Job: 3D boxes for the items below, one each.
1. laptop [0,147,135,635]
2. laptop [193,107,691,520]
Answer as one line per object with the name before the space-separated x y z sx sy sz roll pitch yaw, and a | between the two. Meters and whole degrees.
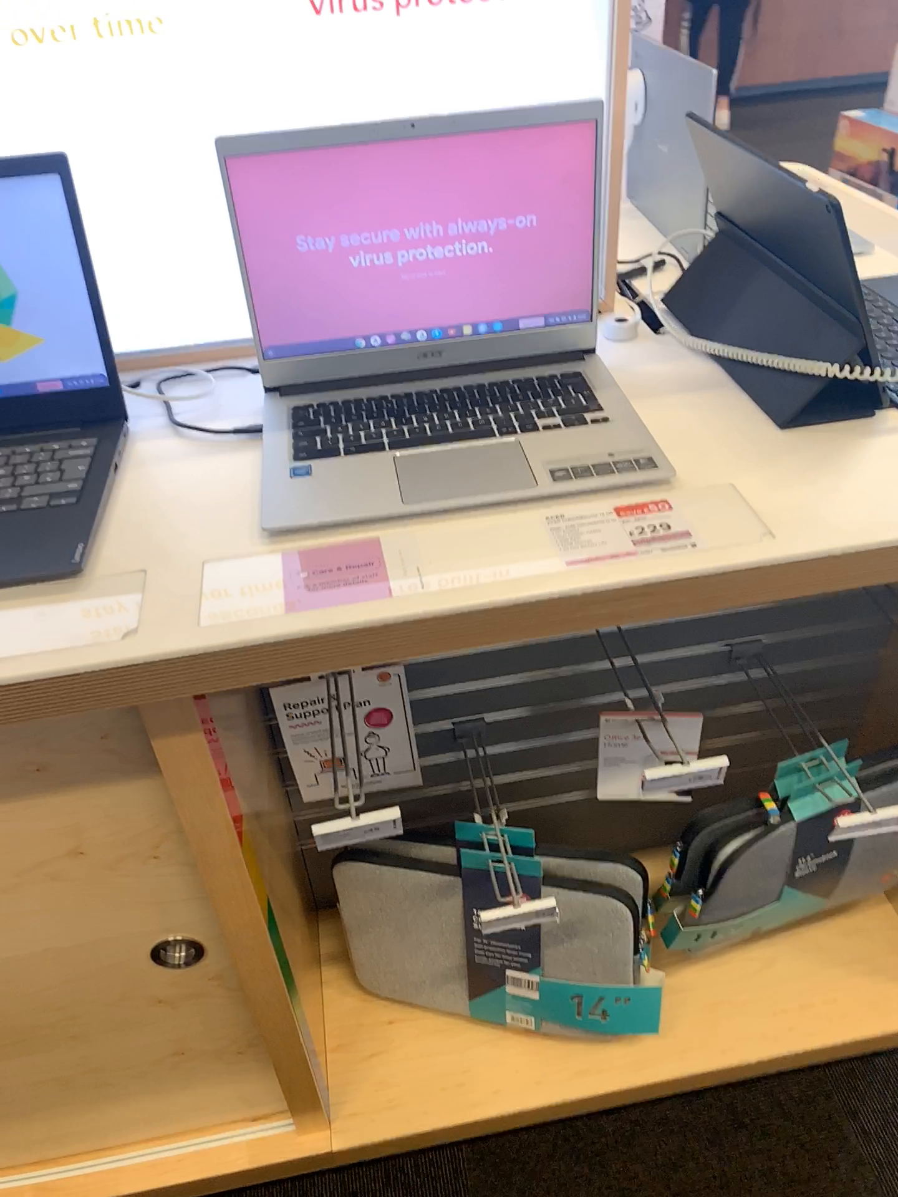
laptop | -0.436 -0.168 0.670 0.308 0.204 0.285 -7 40 -5
laptop | -0.017 -0.230 0.705 0.303 0.206 0.238 -9 38 -7
